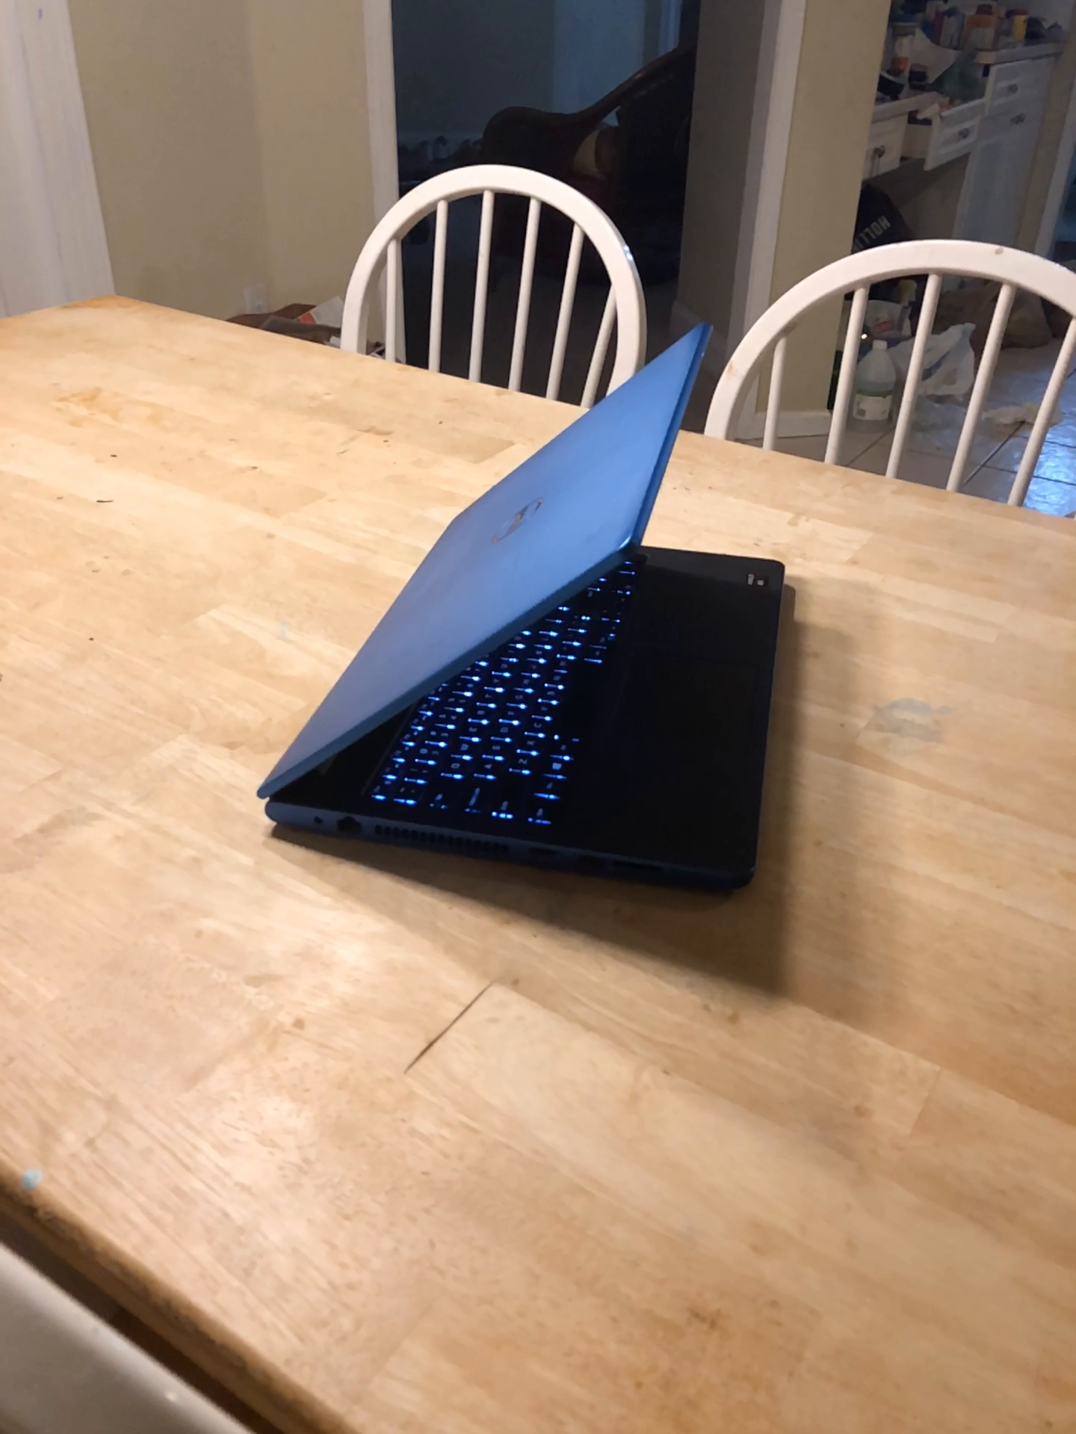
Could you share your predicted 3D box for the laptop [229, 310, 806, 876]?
[{"bbox_3d":[0.020,-0.103,0.693,0.248,0.159,0.363,8,33,8],"label":"laptop"}]
